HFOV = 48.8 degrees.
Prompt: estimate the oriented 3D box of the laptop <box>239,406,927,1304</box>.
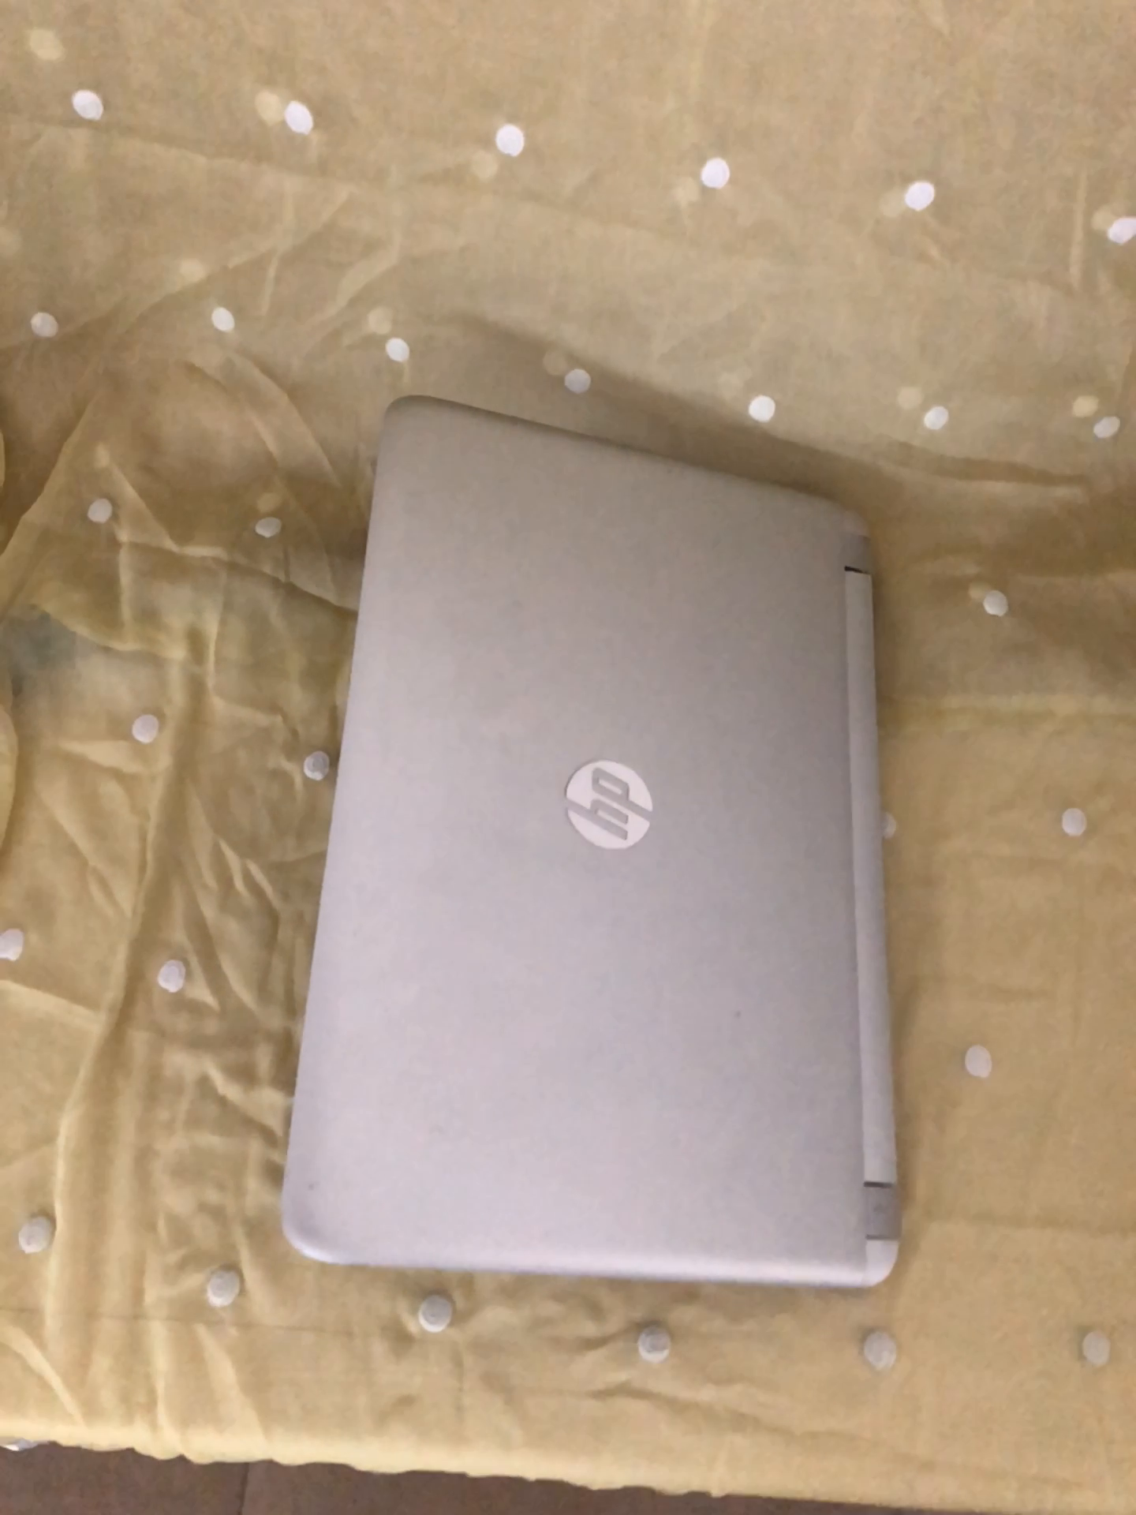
[{"bbox_3d":[0.014,0.032,0.542,0.243,0.077,0.366,4,69,-2],"label":"laptop"}]
